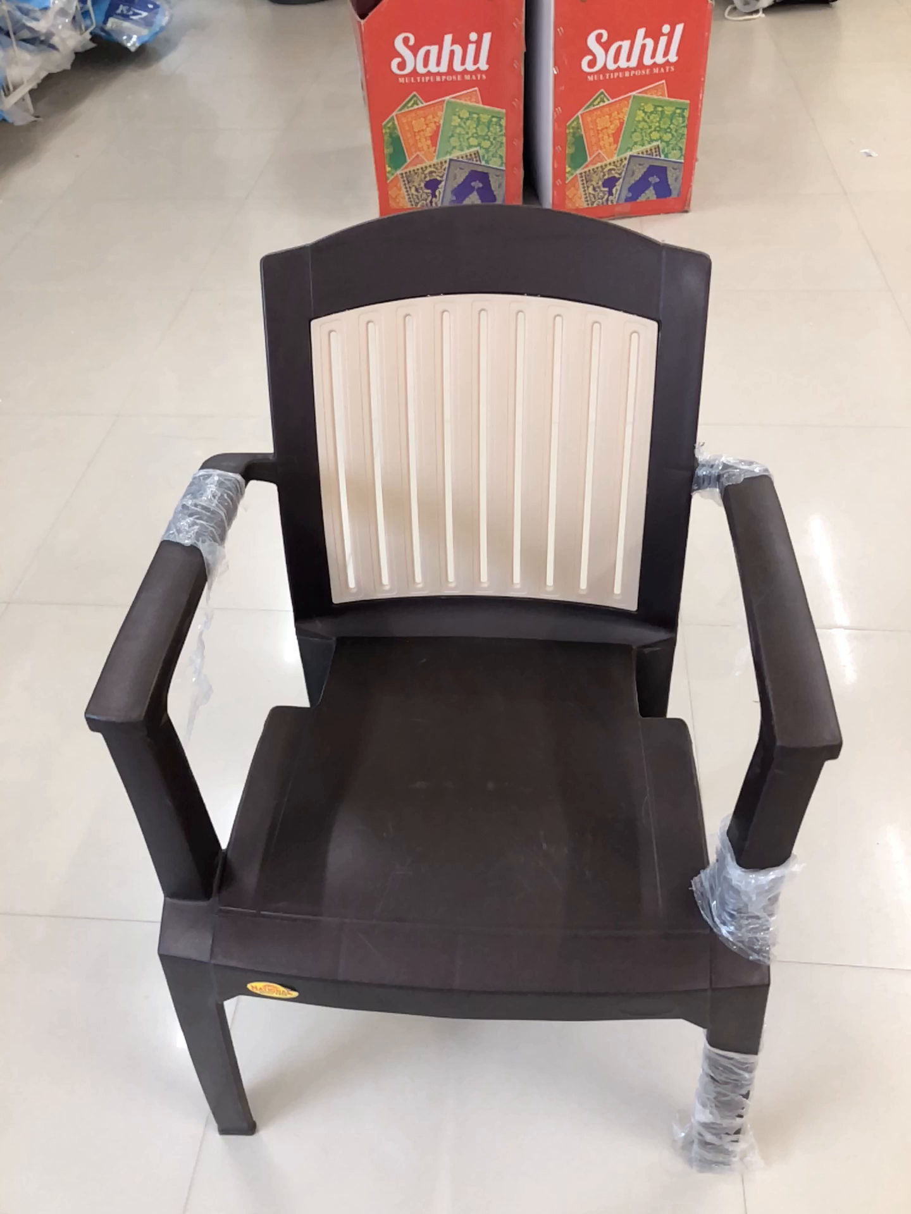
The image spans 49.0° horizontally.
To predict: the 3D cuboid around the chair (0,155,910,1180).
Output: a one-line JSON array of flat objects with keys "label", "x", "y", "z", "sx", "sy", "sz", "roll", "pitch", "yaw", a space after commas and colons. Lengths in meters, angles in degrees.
[{"label": "chair", "x": 0.014, "y": 0.031, "z": 0.855, "sx": 0.600, "sy": 0.557, "sz": 0.654, "roll": -2, "pitch": 43, "yaw": 2}]
